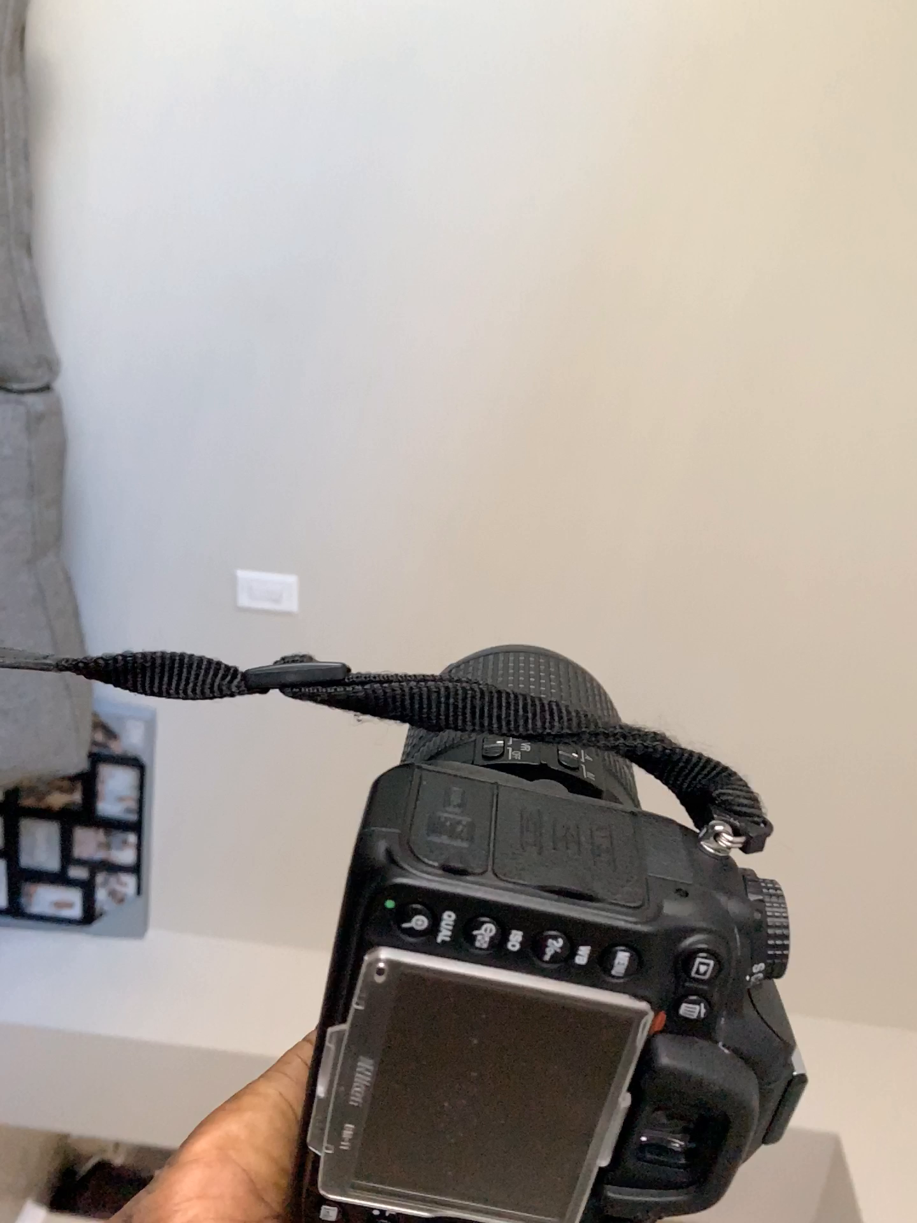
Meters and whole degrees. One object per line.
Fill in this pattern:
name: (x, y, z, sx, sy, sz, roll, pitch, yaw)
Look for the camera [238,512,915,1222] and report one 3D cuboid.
camera: (0.021, 0.083, 0.291, 0.170, 0.114, 0.159, -82, -175, -66)
